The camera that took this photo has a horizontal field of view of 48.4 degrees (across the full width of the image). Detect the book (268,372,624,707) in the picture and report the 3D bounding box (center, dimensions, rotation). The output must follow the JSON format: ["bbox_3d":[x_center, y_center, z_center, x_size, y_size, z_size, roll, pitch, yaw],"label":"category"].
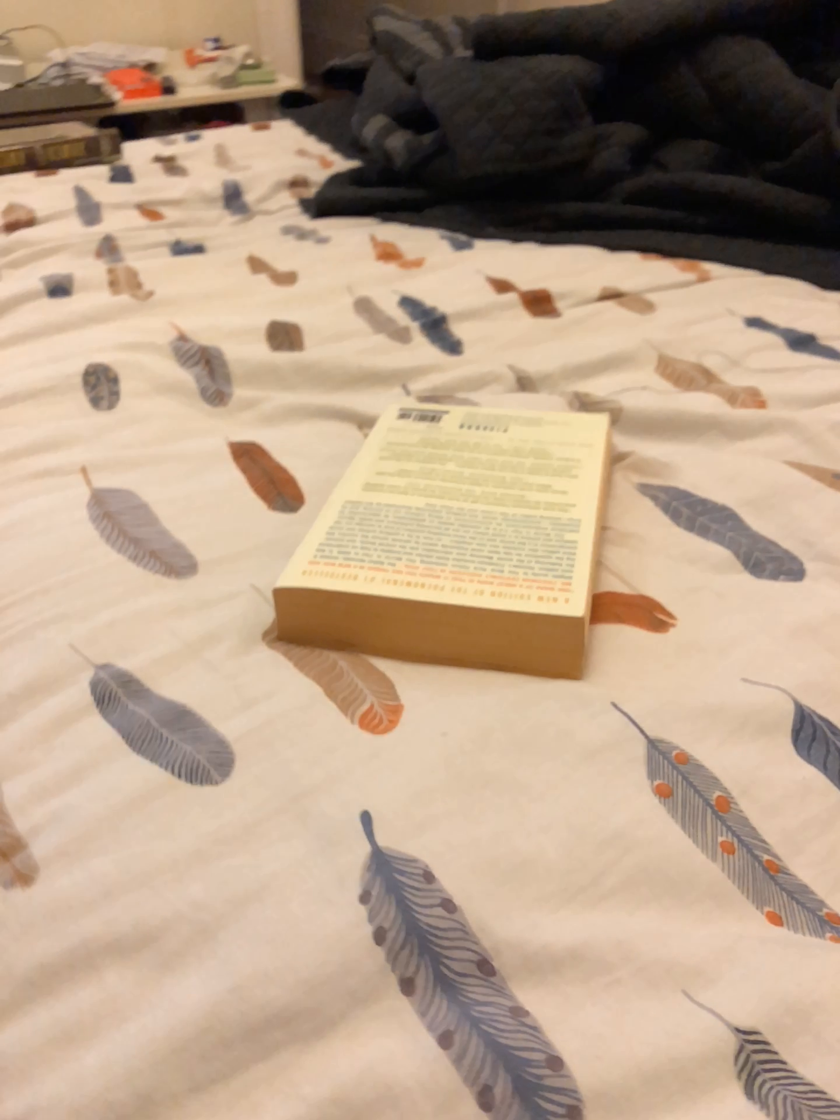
[{"bbox_3d":[0.028,-0.026,0.489,0.150,0.040,0.221,8,36,7],"label":"book"}]
